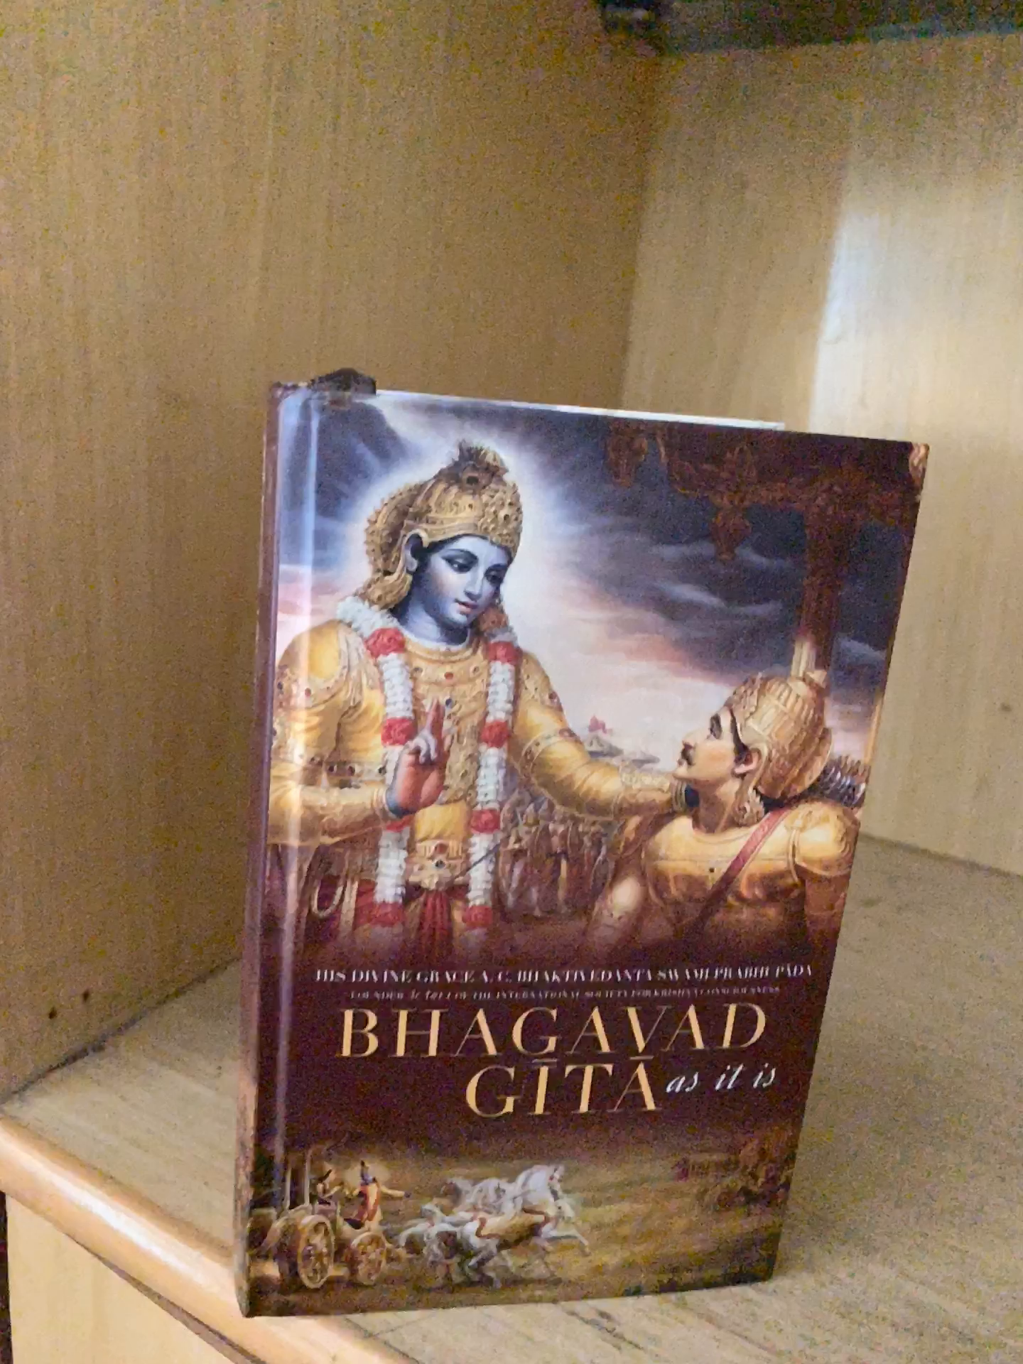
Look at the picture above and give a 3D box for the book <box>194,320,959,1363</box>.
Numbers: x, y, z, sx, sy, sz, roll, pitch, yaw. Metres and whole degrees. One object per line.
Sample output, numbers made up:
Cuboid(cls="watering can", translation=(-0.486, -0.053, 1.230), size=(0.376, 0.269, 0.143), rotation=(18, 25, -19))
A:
Cuboid(cls="book", translation=(0.003, 0.038, 0.254), size=(0.140, 0.219, 0.070), rotation=(3, 13, -11))
